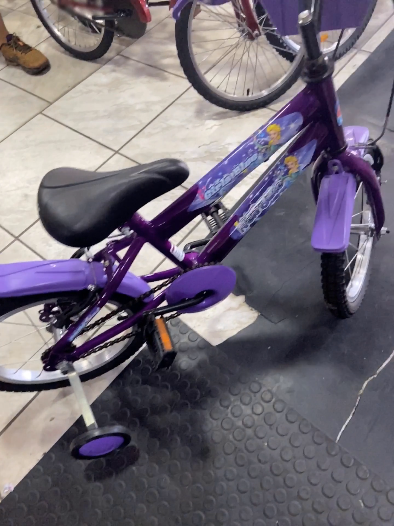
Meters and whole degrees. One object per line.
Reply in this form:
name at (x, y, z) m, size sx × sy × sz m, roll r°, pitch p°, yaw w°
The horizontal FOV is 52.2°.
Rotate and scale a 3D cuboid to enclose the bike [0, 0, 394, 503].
bike at (-0.042, -0.090, 0.698) m, size 0.971 × 0.743 × 0.449 m, roll -28°, pitch 56°, yaw -7°
